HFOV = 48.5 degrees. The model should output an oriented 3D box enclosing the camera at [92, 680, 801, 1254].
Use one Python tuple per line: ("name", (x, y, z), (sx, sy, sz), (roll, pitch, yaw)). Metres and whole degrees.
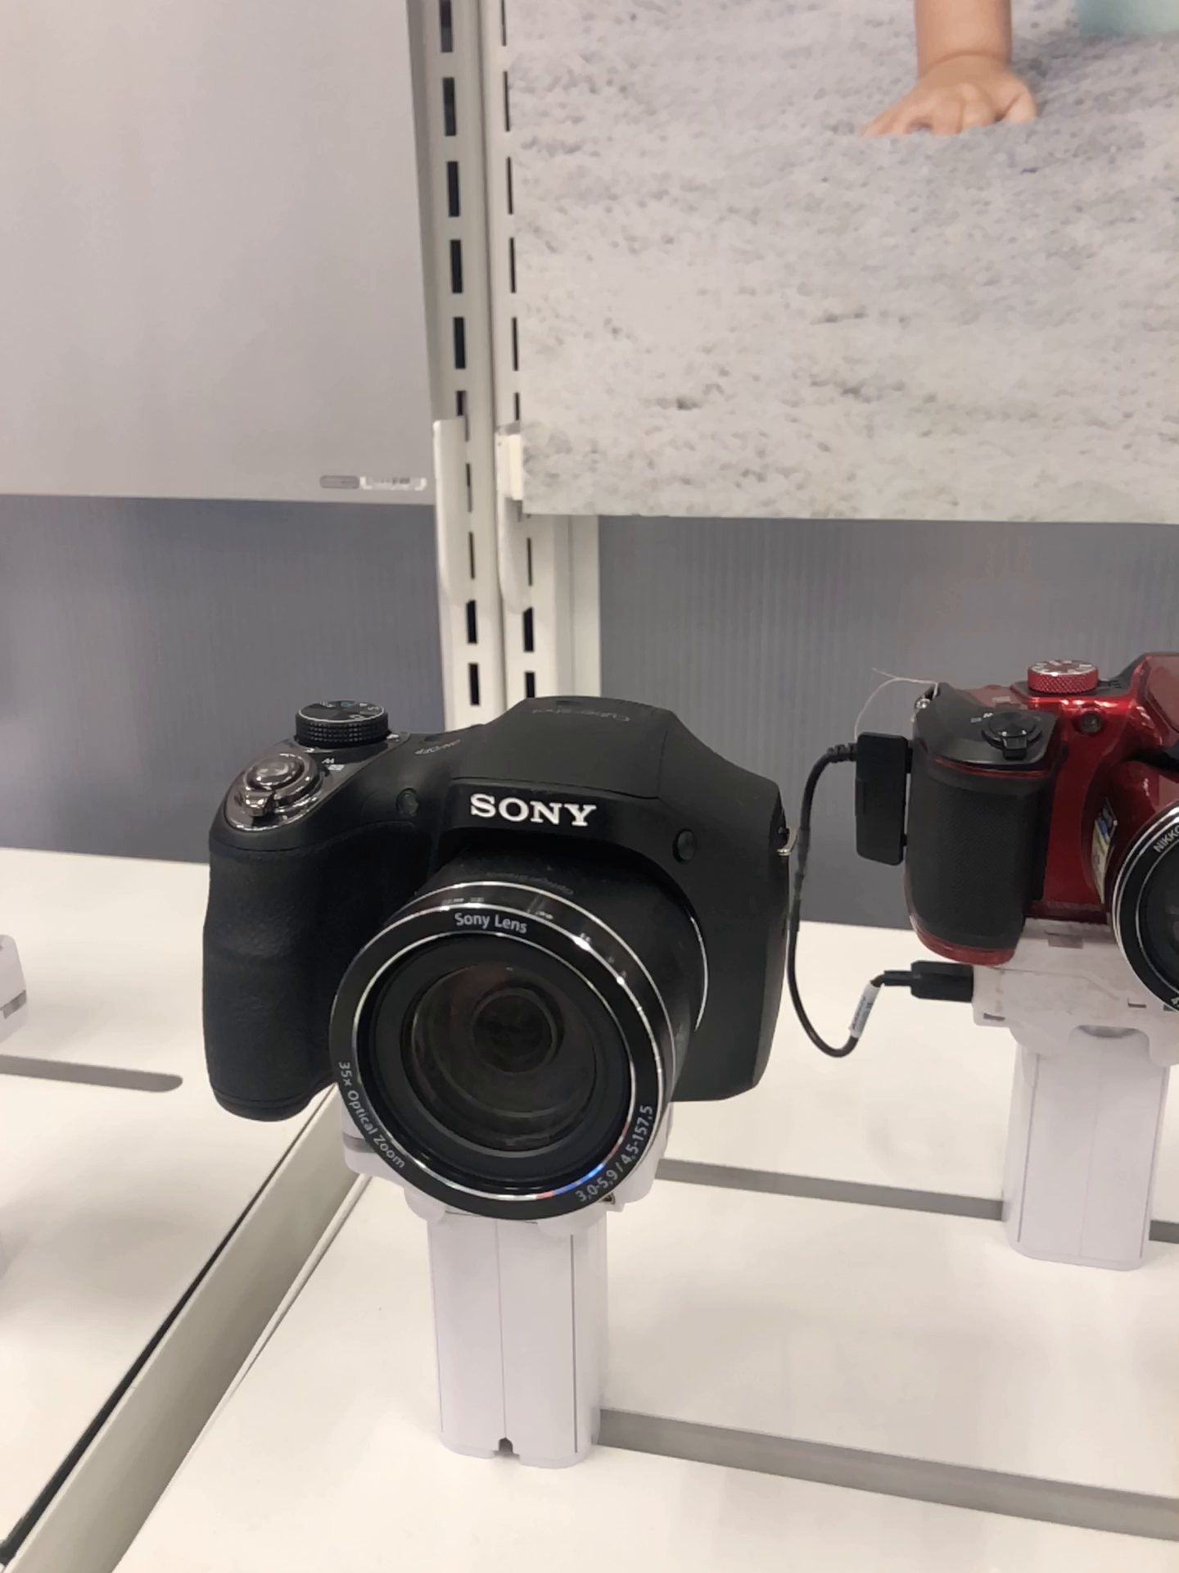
("camera", (-0.020, 0.029, 0.270), (0.119, 0.076, 0.087), (3, 20, 11))
